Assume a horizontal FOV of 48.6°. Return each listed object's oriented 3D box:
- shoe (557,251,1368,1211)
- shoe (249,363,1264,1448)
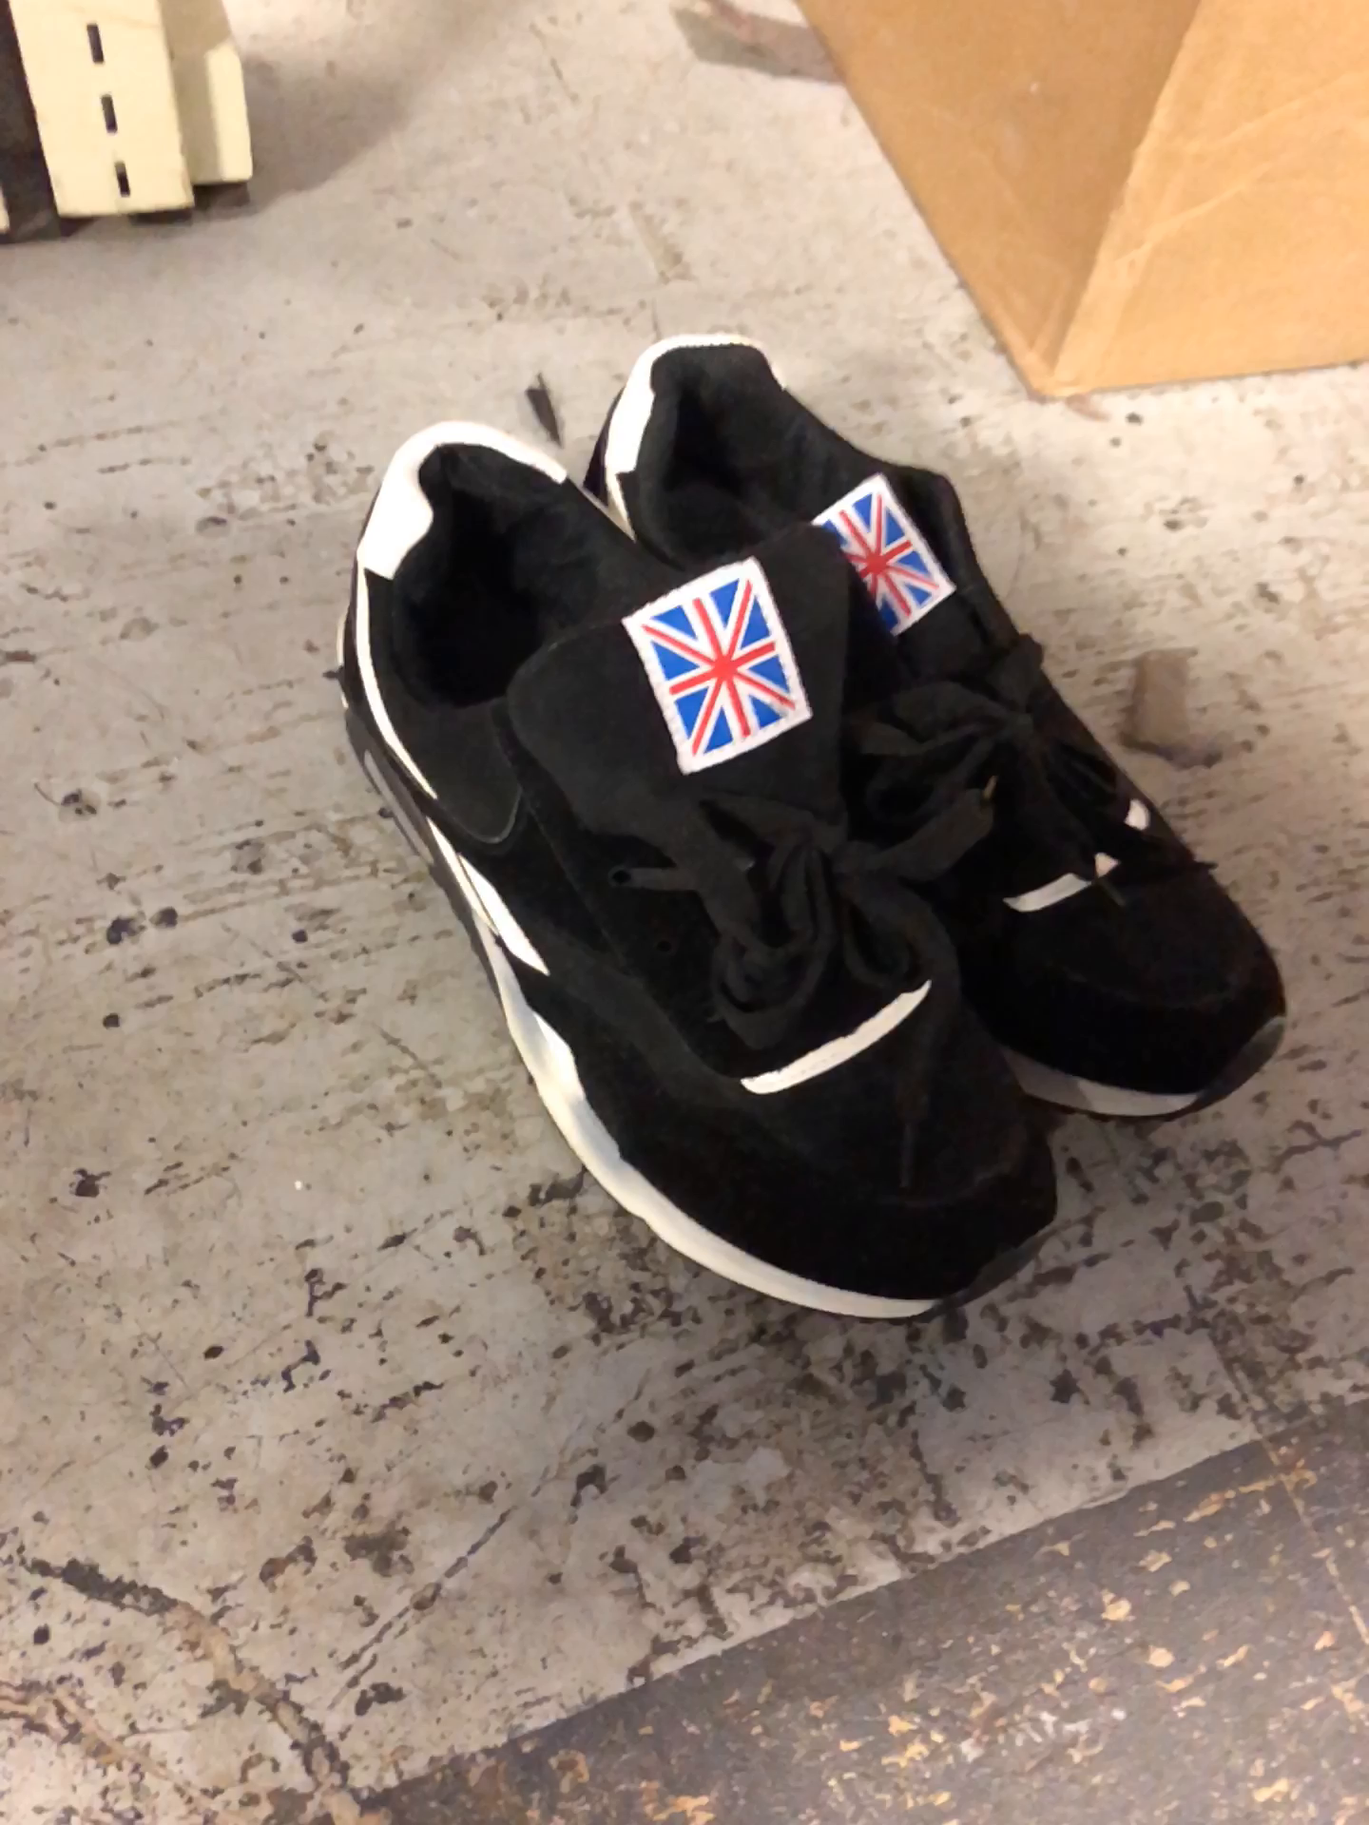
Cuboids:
[{"bbox_3d":[0.082,-0.058,0.434,0.110,0.109,0.241,-31,67,-25],"label":"shoe"},{"bbox_3d":[0.001,-0.006,0.381,0.100,0.119,0.231,-31,67,-25],"label":"shoe"}]
